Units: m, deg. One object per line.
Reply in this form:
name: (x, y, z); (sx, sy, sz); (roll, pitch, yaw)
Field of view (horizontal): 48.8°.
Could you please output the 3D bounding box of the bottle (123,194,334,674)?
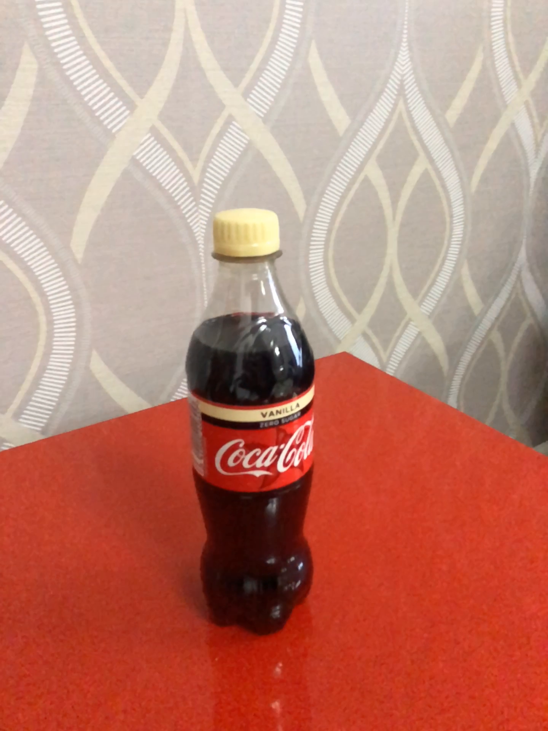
bottle: (-0.022, 0.038, 0.330); (0.070, 0.238, 0.080); (-14, 27, -27)
